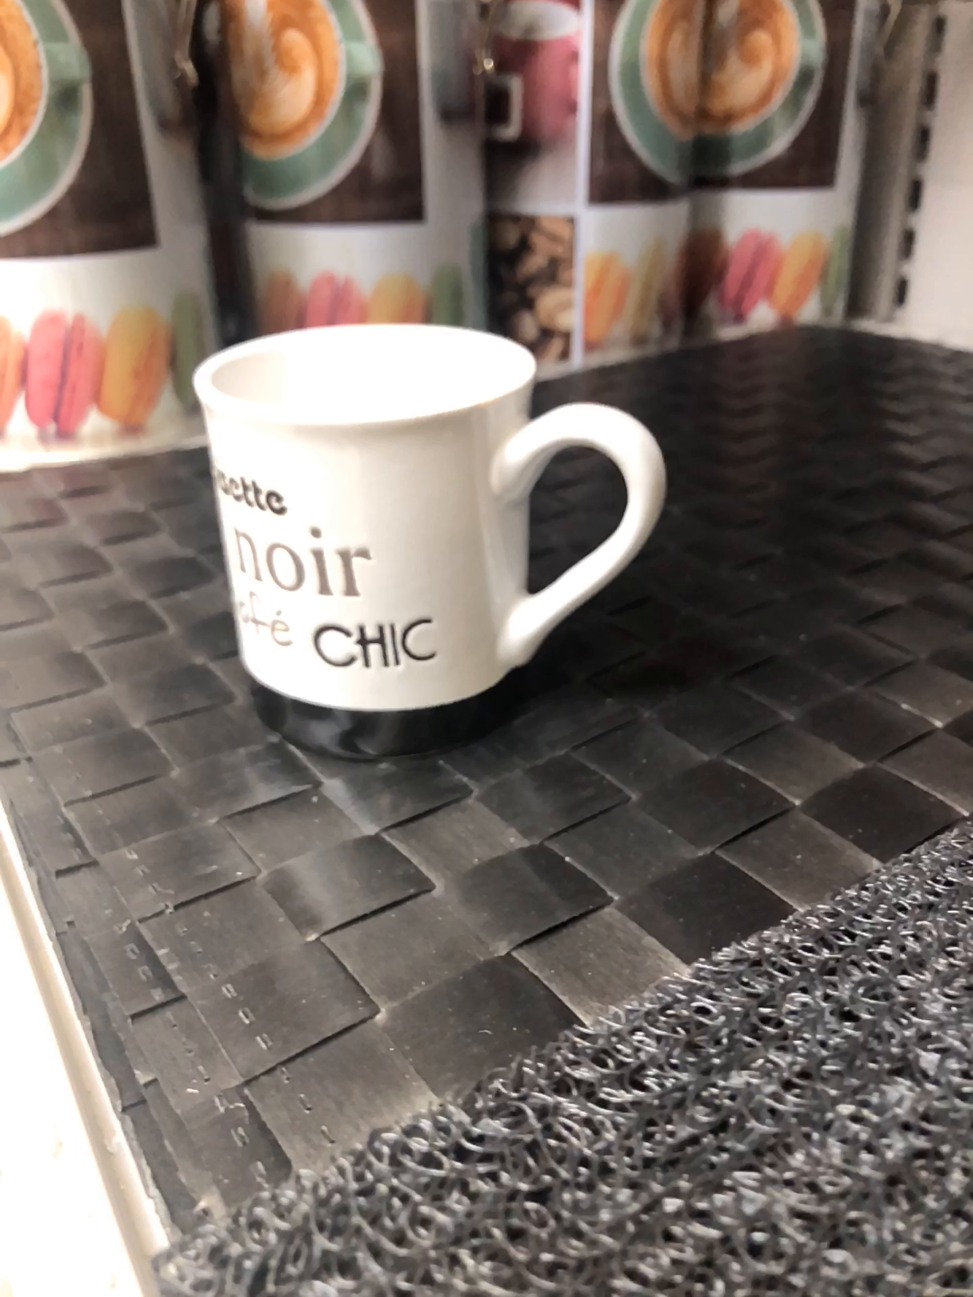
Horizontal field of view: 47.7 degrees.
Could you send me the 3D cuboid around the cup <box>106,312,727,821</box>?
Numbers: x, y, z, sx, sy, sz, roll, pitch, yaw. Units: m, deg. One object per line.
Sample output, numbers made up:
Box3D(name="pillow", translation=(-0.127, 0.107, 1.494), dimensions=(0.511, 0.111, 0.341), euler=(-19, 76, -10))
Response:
Box3D(name="cup", translation=(-0.009, -0.023, 0.216), dimensions=(0.092, 0.066, 0.068), euler=(11, 30, 22))
